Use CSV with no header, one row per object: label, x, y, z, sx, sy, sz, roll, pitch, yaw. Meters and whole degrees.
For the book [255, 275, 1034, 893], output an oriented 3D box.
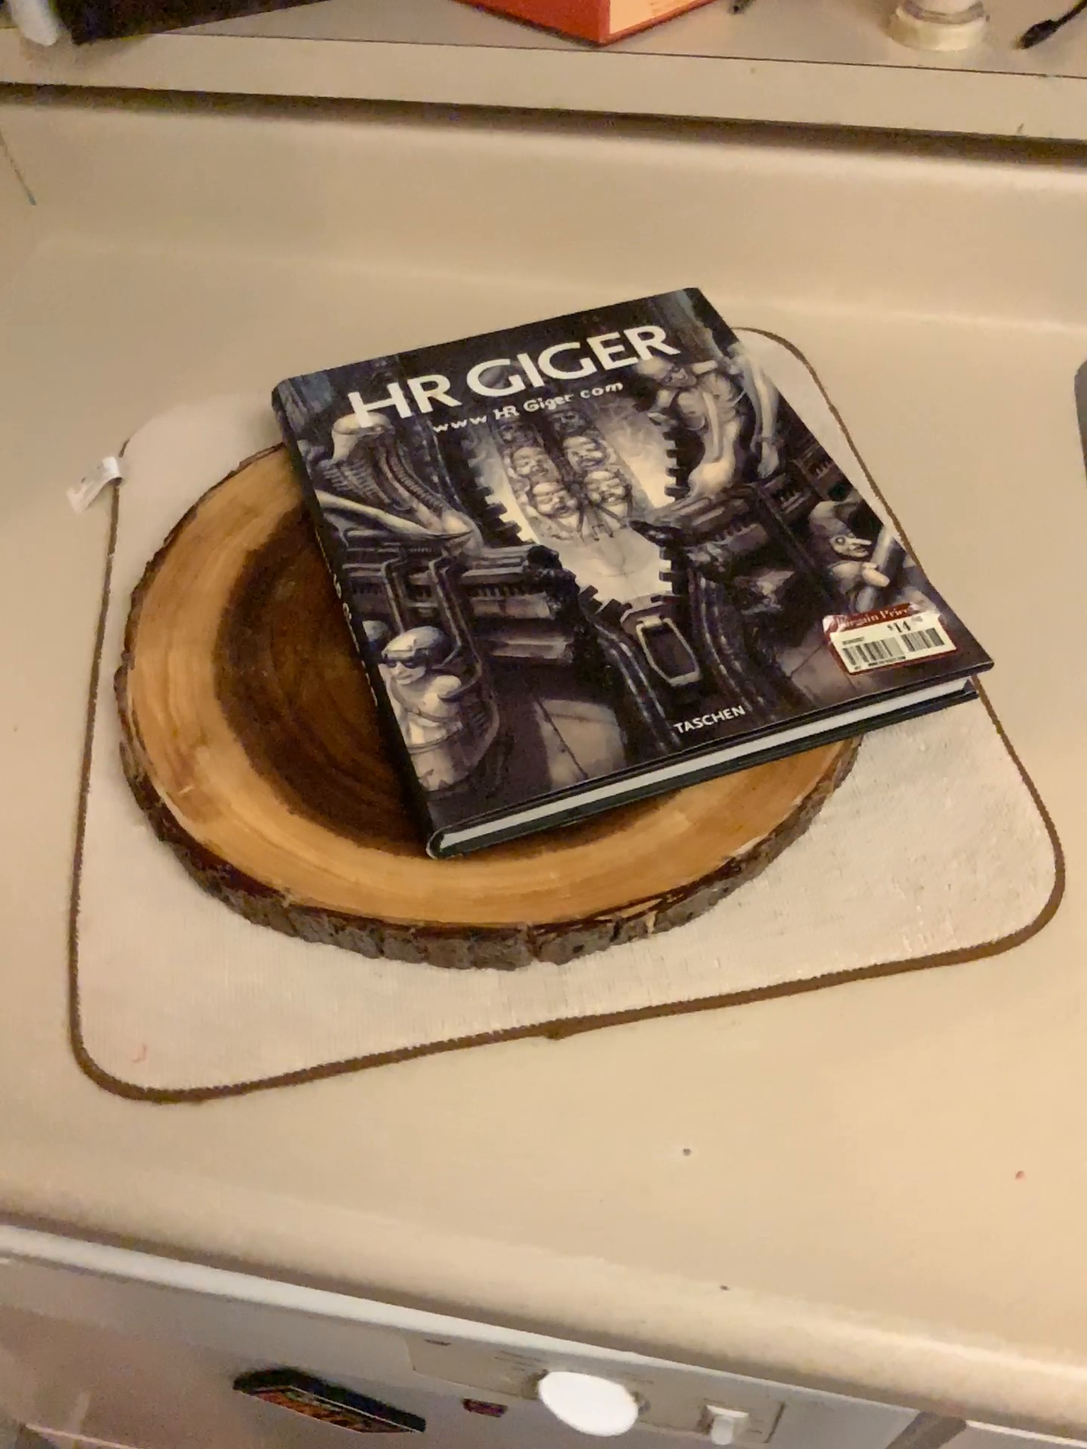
book,0.026,-0.099,0.599,0.270,0.030,0.330,-17,52,-11
